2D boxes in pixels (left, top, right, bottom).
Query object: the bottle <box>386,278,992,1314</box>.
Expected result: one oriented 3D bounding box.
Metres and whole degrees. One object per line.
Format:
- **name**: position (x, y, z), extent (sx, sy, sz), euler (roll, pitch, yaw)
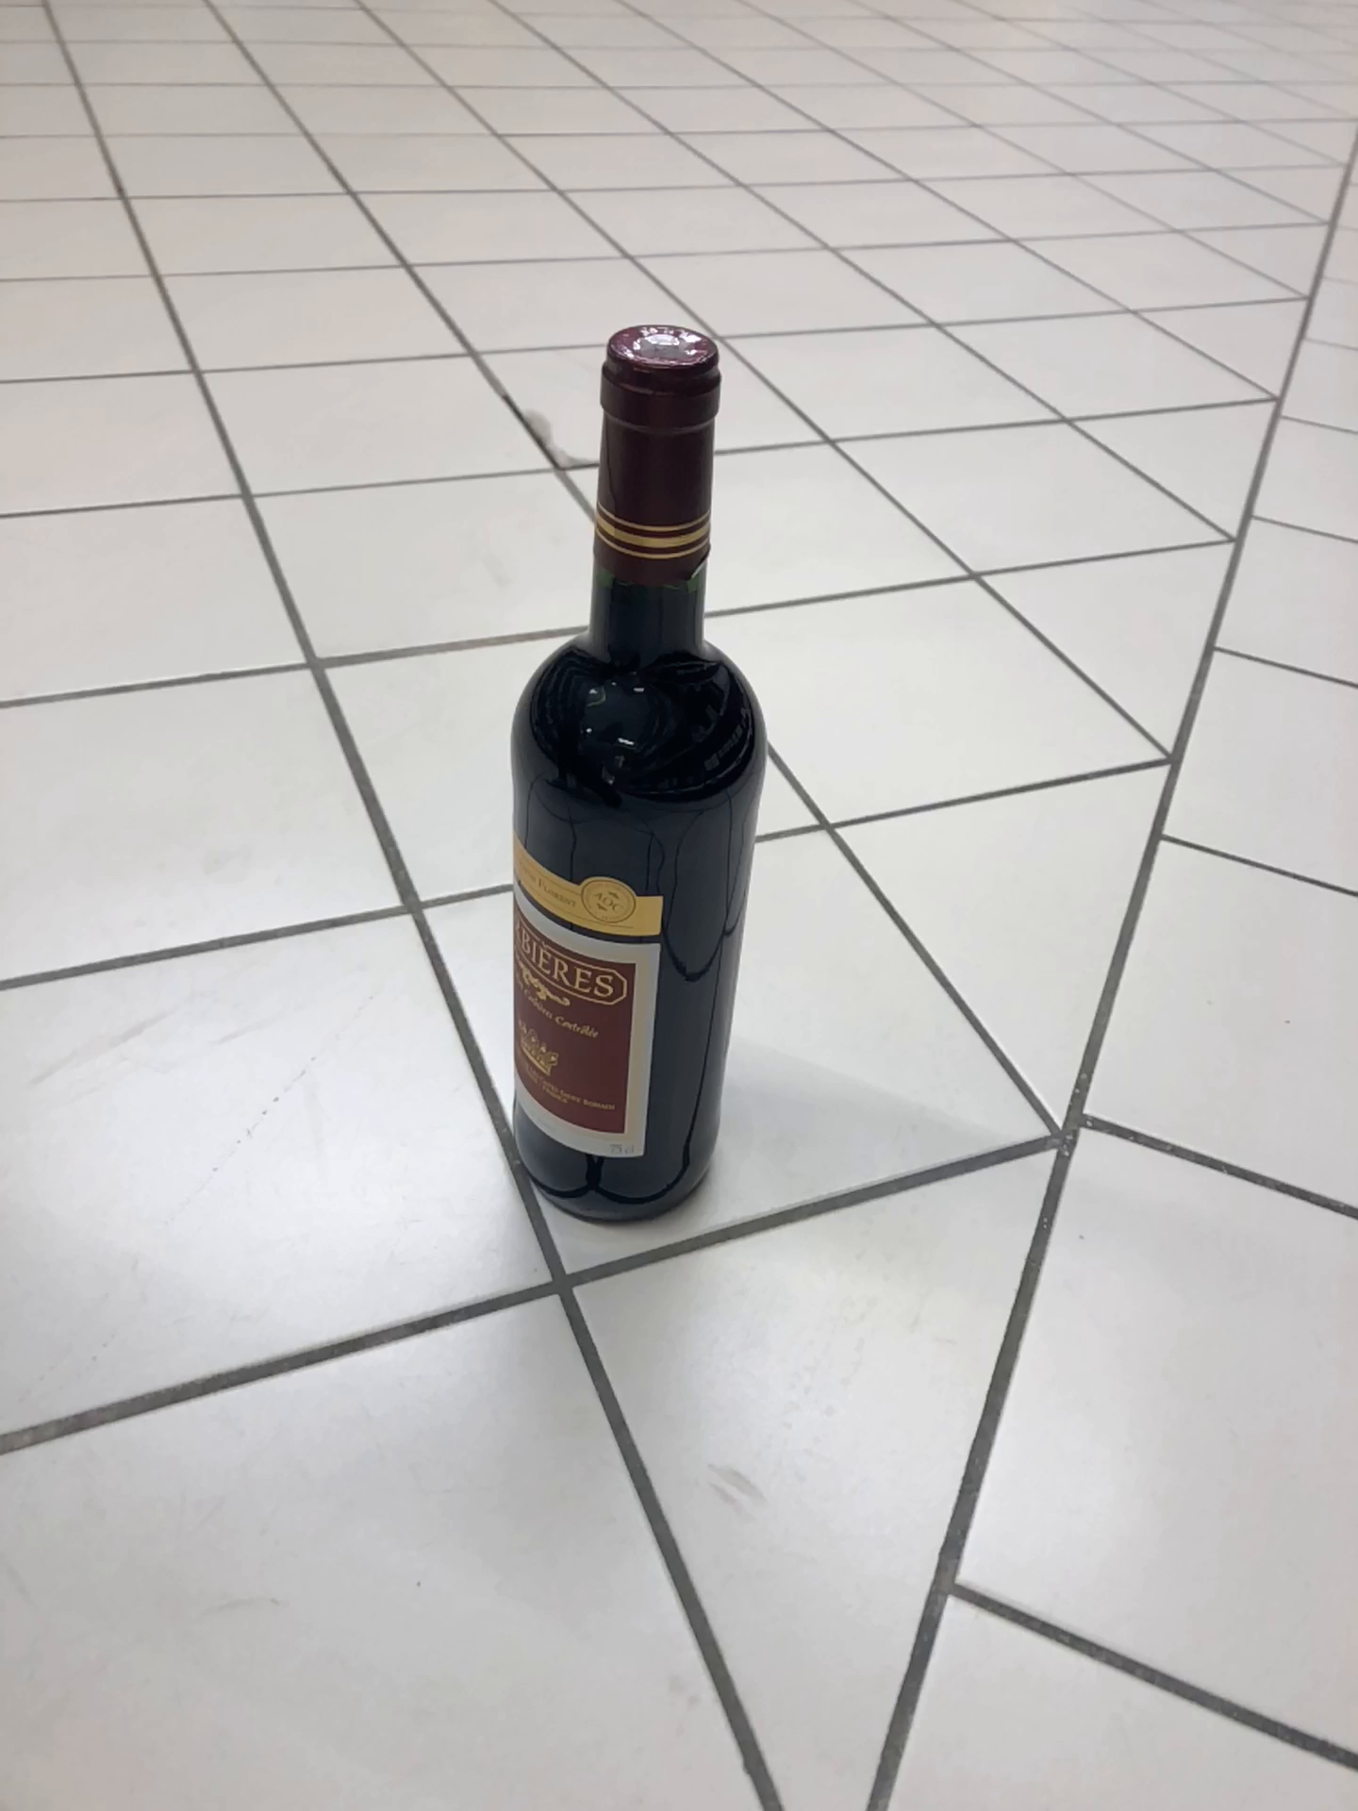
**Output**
- **bottle**: position (-0.009, -0.021, 0.433), extent (0.101, 0.268, 0.100), euler (4, 40, -3)
